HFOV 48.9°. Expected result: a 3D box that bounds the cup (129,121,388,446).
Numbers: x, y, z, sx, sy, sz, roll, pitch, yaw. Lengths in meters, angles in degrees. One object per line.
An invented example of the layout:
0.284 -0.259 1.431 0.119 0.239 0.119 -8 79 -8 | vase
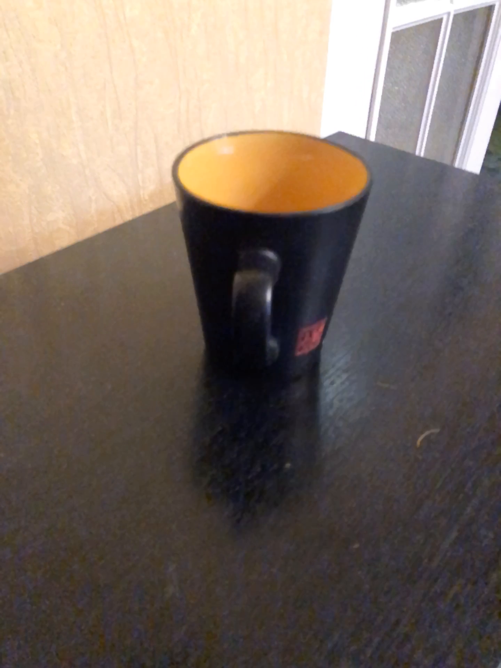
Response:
0.006 -0.031 0.273 0.090 0.099 0.131 3 40 2 | cup
